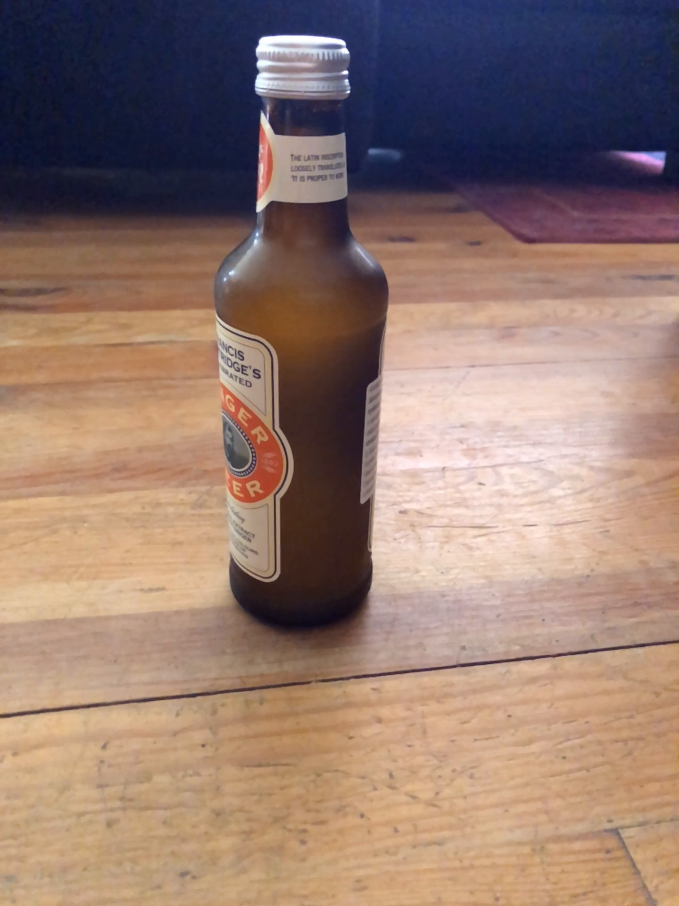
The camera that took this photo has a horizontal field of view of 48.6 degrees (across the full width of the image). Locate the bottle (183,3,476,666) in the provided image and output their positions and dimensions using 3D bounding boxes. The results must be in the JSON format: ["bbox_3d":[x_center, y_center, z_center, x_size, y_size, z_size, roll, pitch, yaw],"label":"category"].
[{"bbox_3d":[-0.008,-0.035,0.265,0.060,0.209,0.070,-12,31,-23],"label":"bottle"}]
